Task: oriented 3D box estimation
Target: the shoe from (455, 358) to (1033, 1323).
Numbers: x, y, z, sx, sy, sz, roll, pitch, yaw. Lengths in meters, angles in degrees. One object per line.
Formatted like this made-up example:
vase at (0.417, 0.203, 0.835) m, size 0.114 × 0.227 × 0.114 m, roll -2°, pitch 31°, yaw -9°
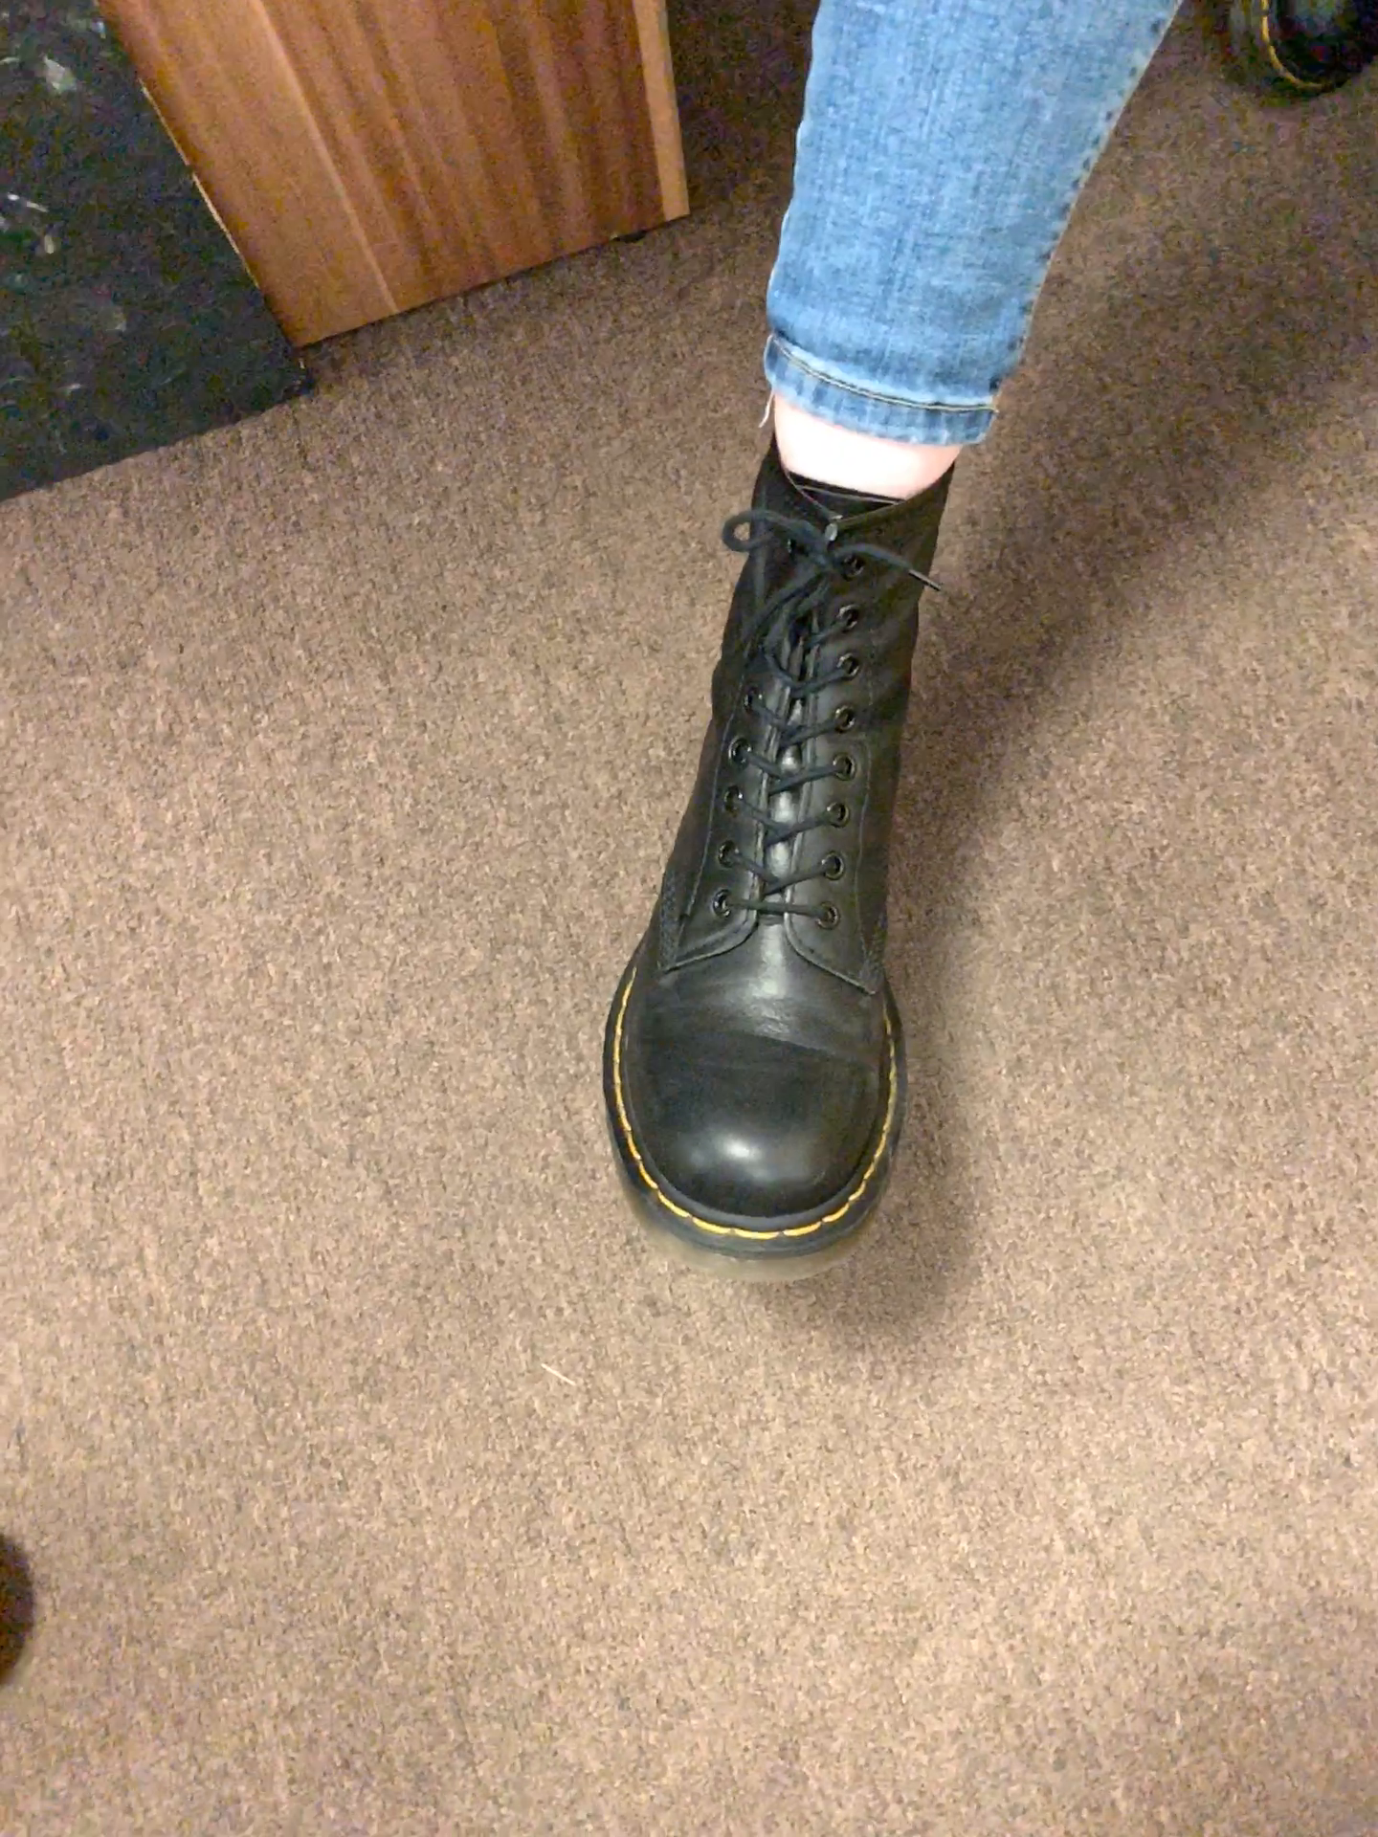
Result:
shoe at (0.033, -0.042, 0.477) m, size 0.120 × 0.150 × 0.290 m, roll 10°, pitch 49°, yaw 7°
